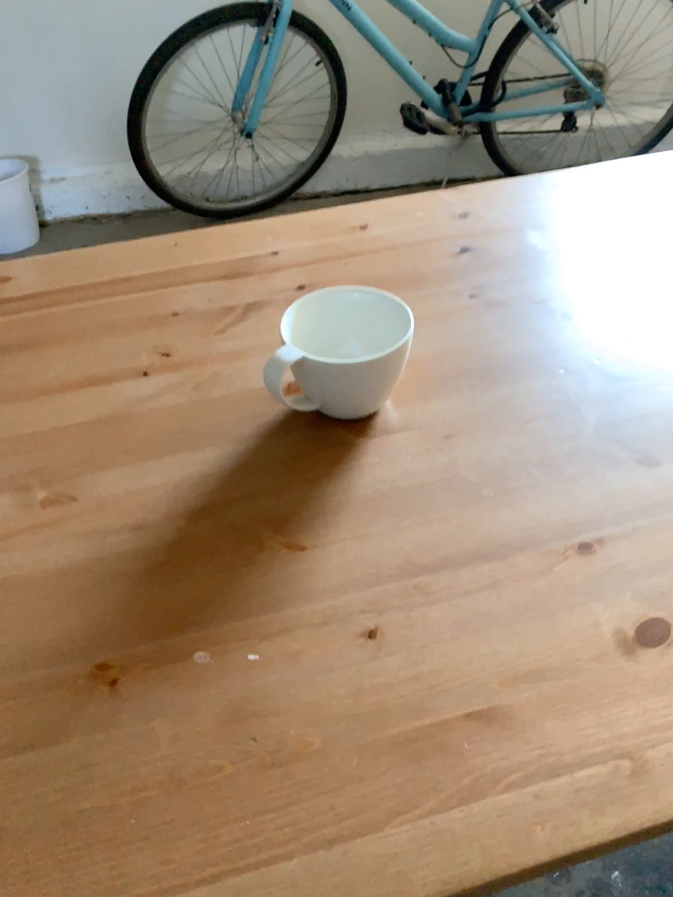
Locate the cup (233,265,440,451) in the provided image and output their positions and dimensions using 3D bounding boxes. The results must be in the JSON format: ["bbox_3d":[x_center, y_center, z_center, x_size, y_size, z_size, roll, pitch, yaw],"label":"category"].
[{"bbox_3d":[-0.001,-0.080,0.578,0.130,0.070,0.111,-22,48,-17],"label":"cup"}]
